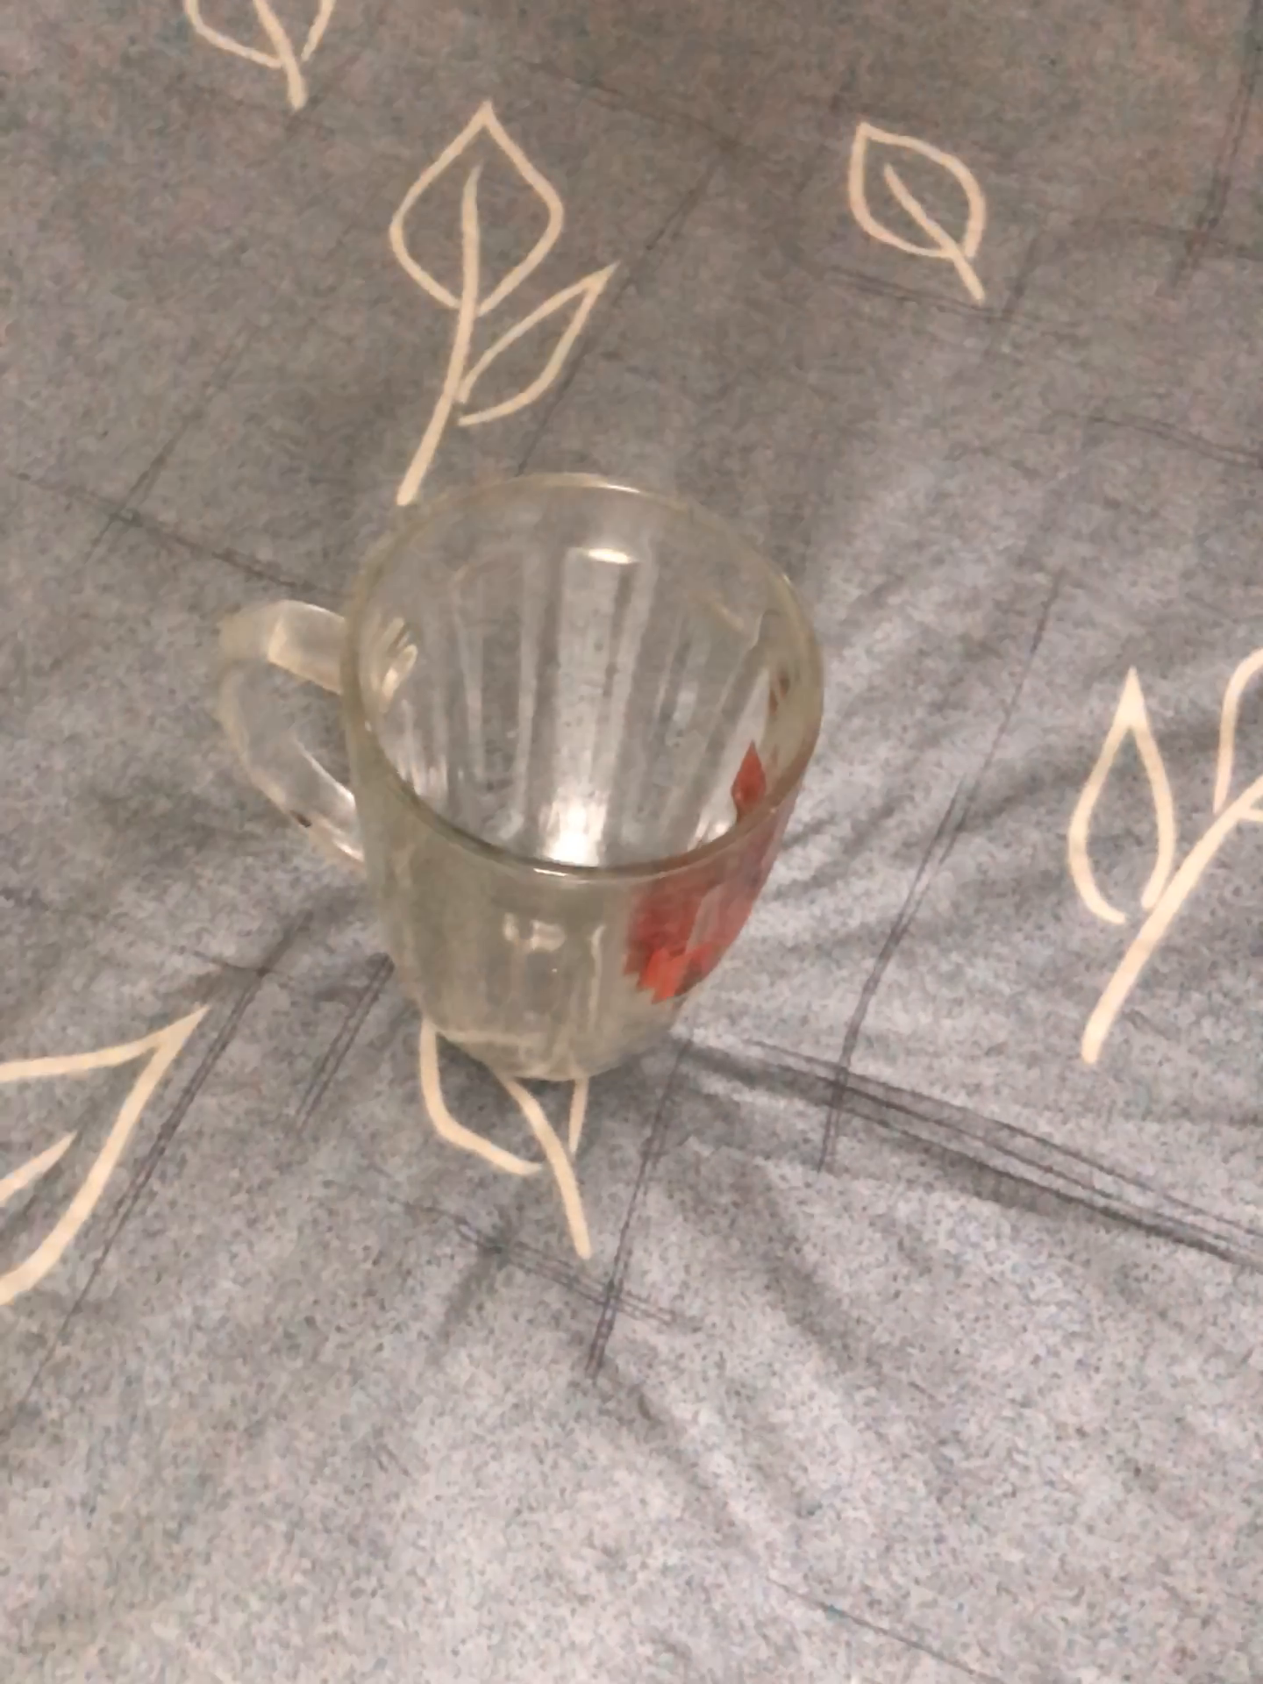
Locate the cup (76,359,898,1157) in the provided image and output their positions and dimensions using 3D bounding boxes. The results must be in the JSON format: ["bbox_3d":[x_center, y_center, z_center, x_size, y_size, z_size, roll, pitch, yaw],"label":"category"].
[{"bbox_3d":[-0.026,-0.010,0.326,0.127,0.136,0.091,22,66,9],"label":"cup"}]
